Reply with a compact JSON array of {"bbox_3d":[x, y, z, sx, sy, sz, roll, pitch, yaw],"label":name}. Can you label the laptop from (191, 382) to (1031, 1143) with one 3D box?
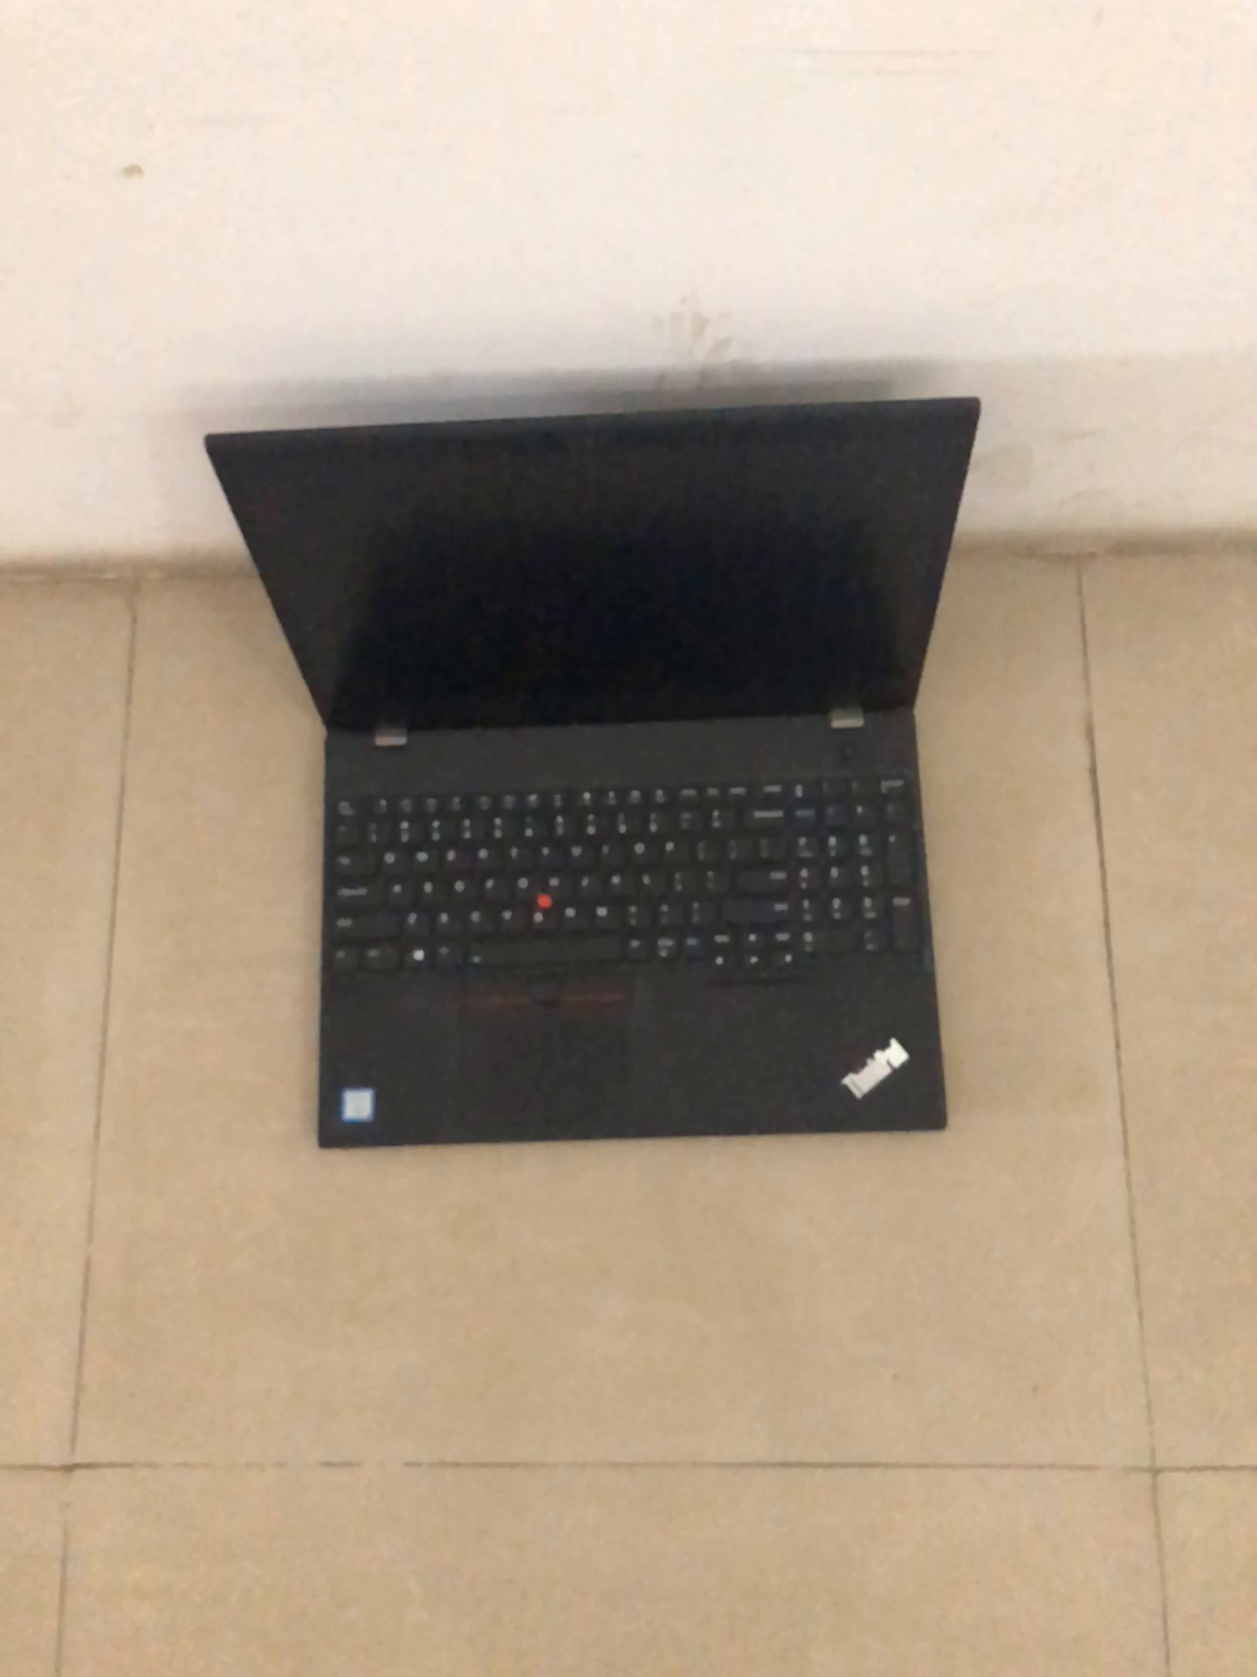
[{"bbox_3d":[-0.010,-0.017,0.715,0.351,0.216,0.327,-2,79,2],"label":"laptop"}]
